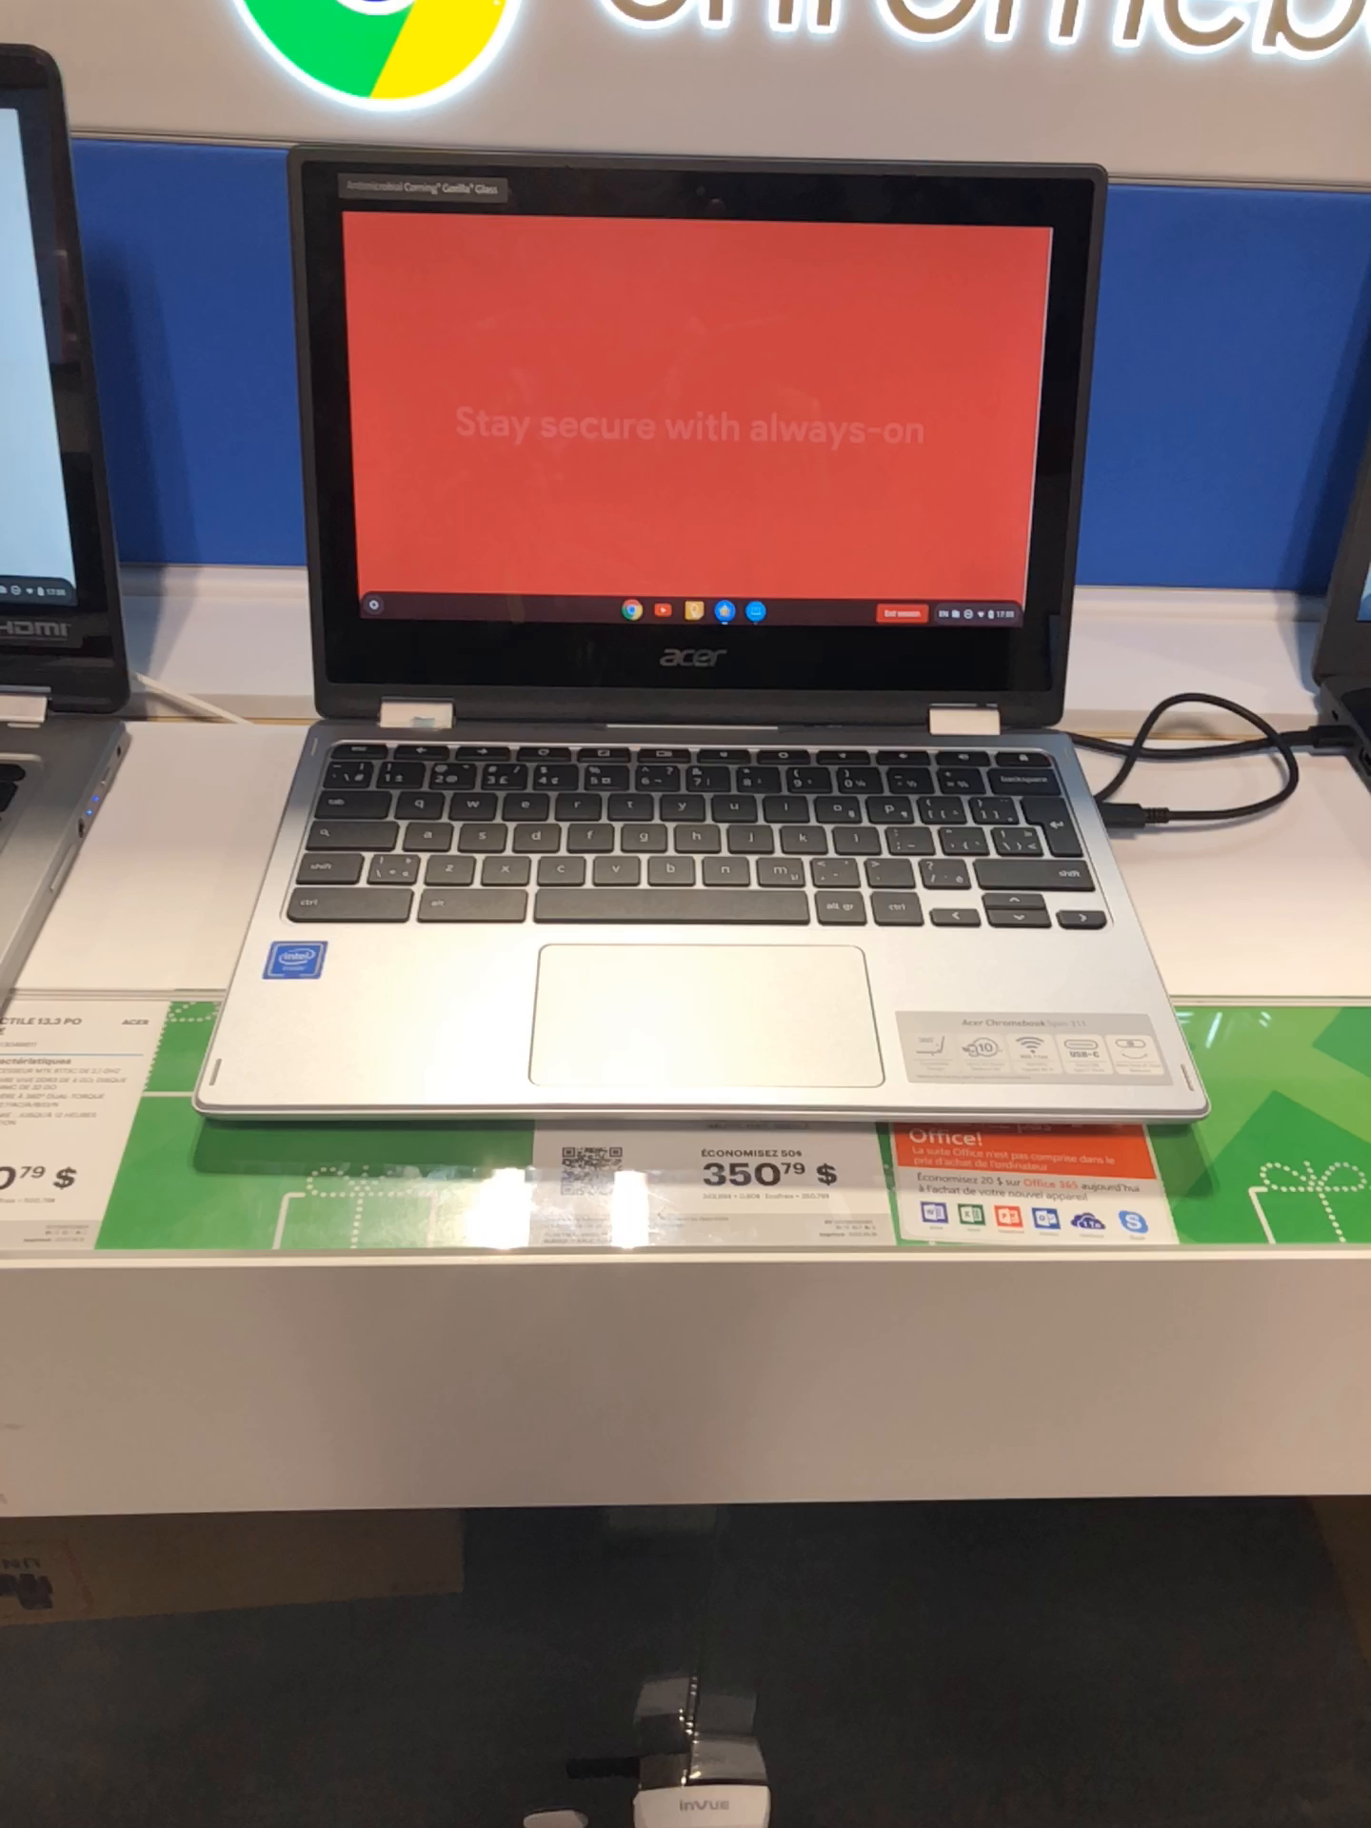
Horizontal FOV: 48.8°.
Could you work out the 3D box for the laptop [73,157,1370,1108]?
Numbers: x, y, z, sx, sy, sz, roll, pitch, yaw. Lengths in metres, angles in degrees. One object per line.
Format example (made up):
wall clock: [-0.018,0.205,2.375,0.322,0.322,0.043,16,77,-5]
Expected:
laptop: [0.008,-0.102,0.480,0.284,0.181,0.274,1,40,-3]
